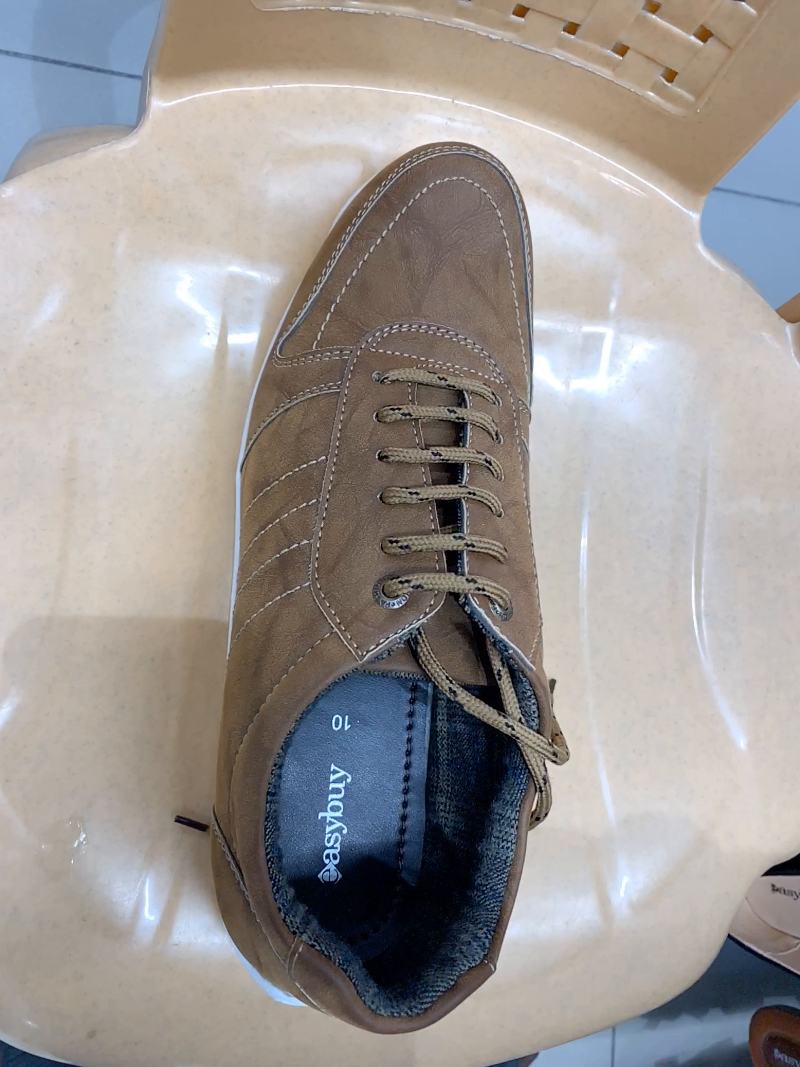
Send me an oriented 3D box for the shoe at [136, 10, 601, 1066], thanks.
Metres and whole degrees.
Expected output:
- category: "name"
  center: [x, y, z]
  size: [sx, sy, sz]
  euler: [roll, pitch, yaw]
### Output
- category: "shoe"
  center: [-0.008, 0.000, 0.286]
  size: [0.100, 0.100, 0.310]
  euler: [10, 75, -13]
